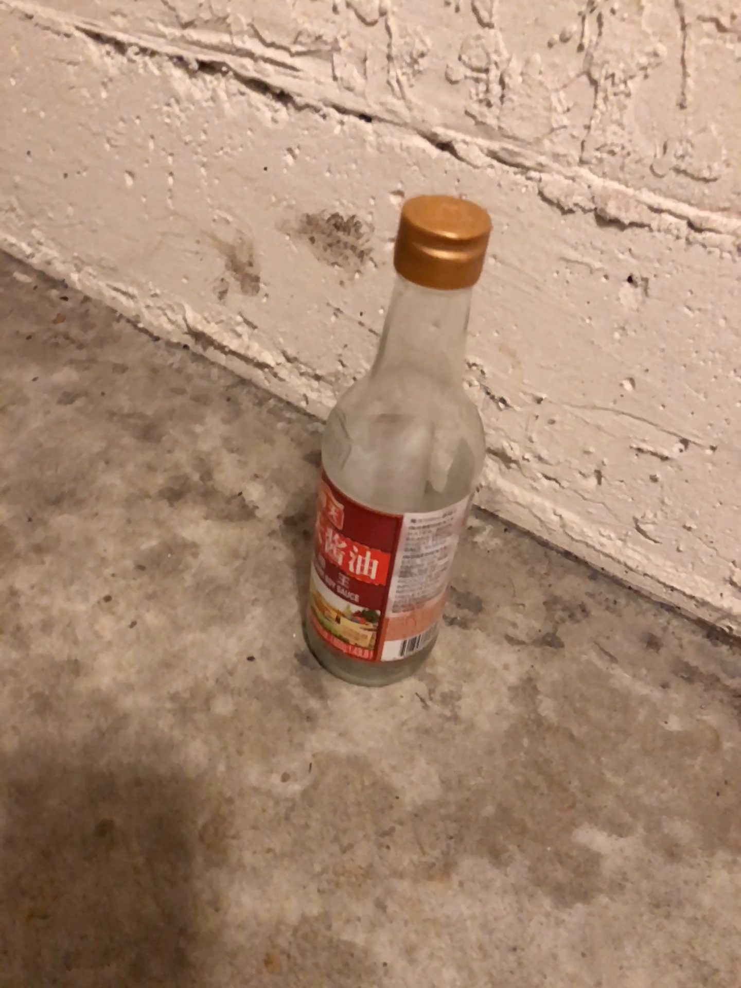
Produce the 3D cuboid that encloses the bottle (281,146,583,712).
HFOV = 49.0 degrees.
[{"bbox_3d":[0.010,-0.013,0.342,0.070,0.228,0.070,4,42,-3],"label":"bottle"}]
